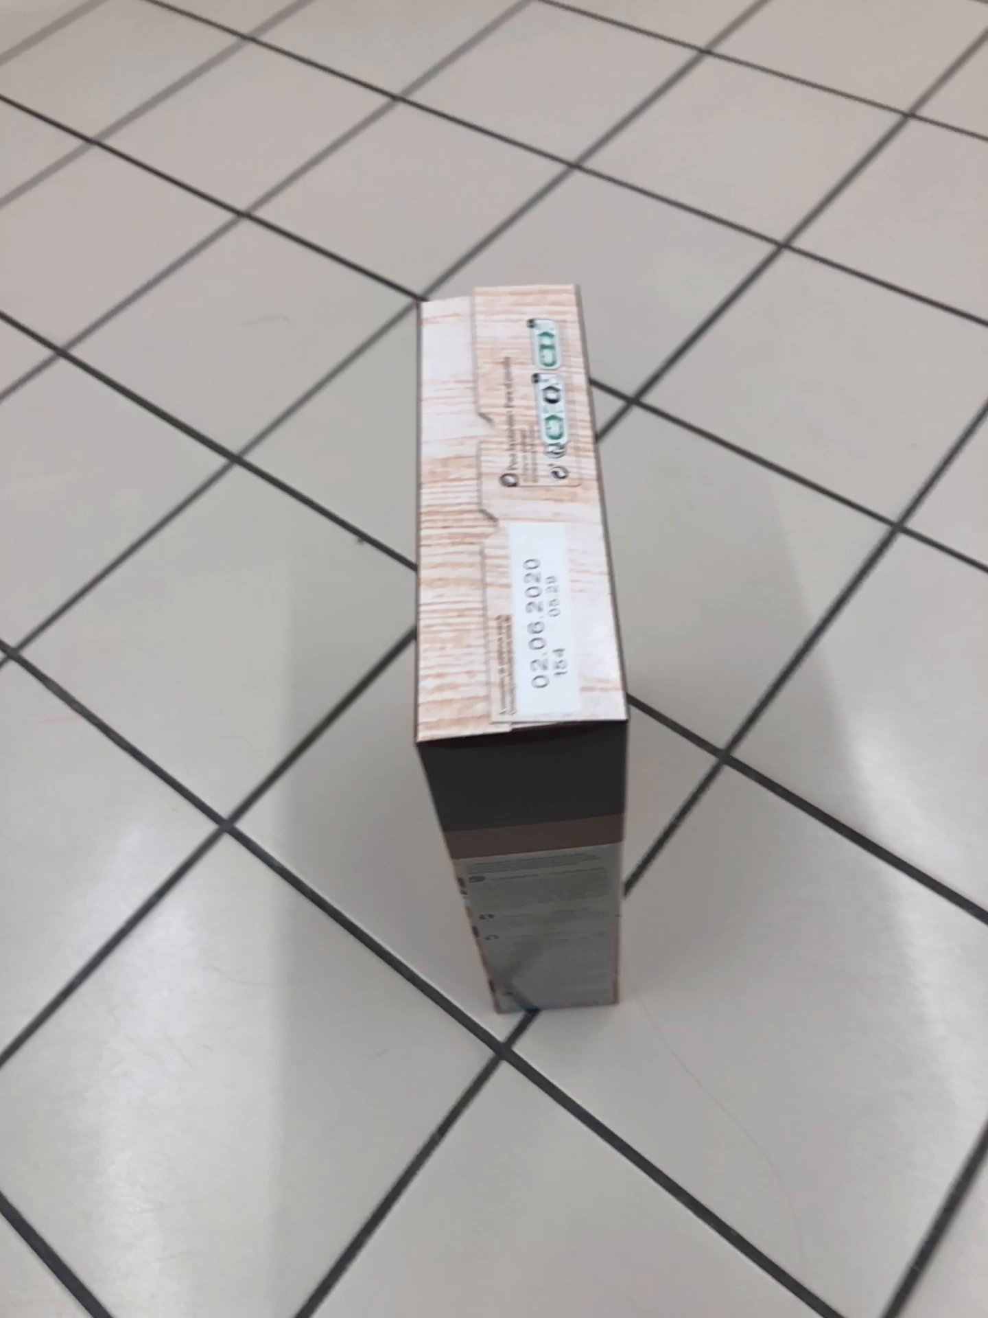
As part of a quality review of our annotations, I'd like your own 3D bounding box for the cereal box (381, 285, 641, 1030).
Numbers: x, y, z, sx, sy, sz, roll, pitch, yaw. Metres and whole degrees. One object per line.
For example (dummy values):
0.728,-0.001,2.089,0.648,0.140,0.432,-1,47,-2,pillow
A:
0.009,0.020,0.479,0.070,0.279,0.201,-6,57,1,cereal box
